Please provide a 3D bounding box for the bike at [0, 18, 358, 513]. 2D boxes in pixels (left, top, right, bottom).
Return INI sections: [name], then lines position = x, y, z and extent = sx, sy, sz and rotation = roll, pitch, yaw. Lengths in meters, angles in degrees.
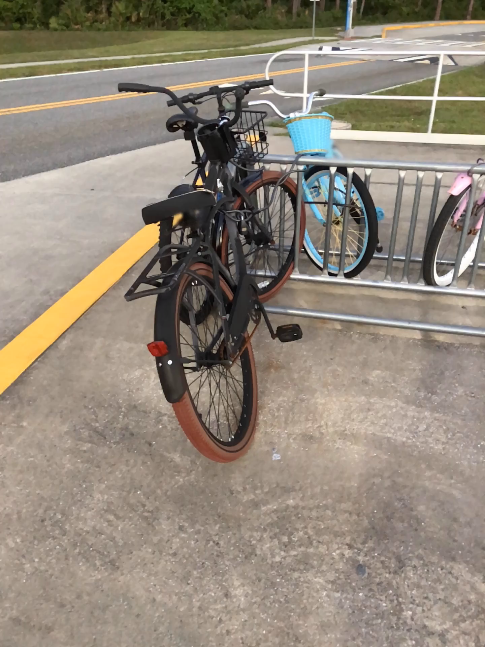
[bike]
position = -0.057, -0.426, 2.112
extent = 0.829, 1.116, 1.731
rotation = 5, 36, 10
